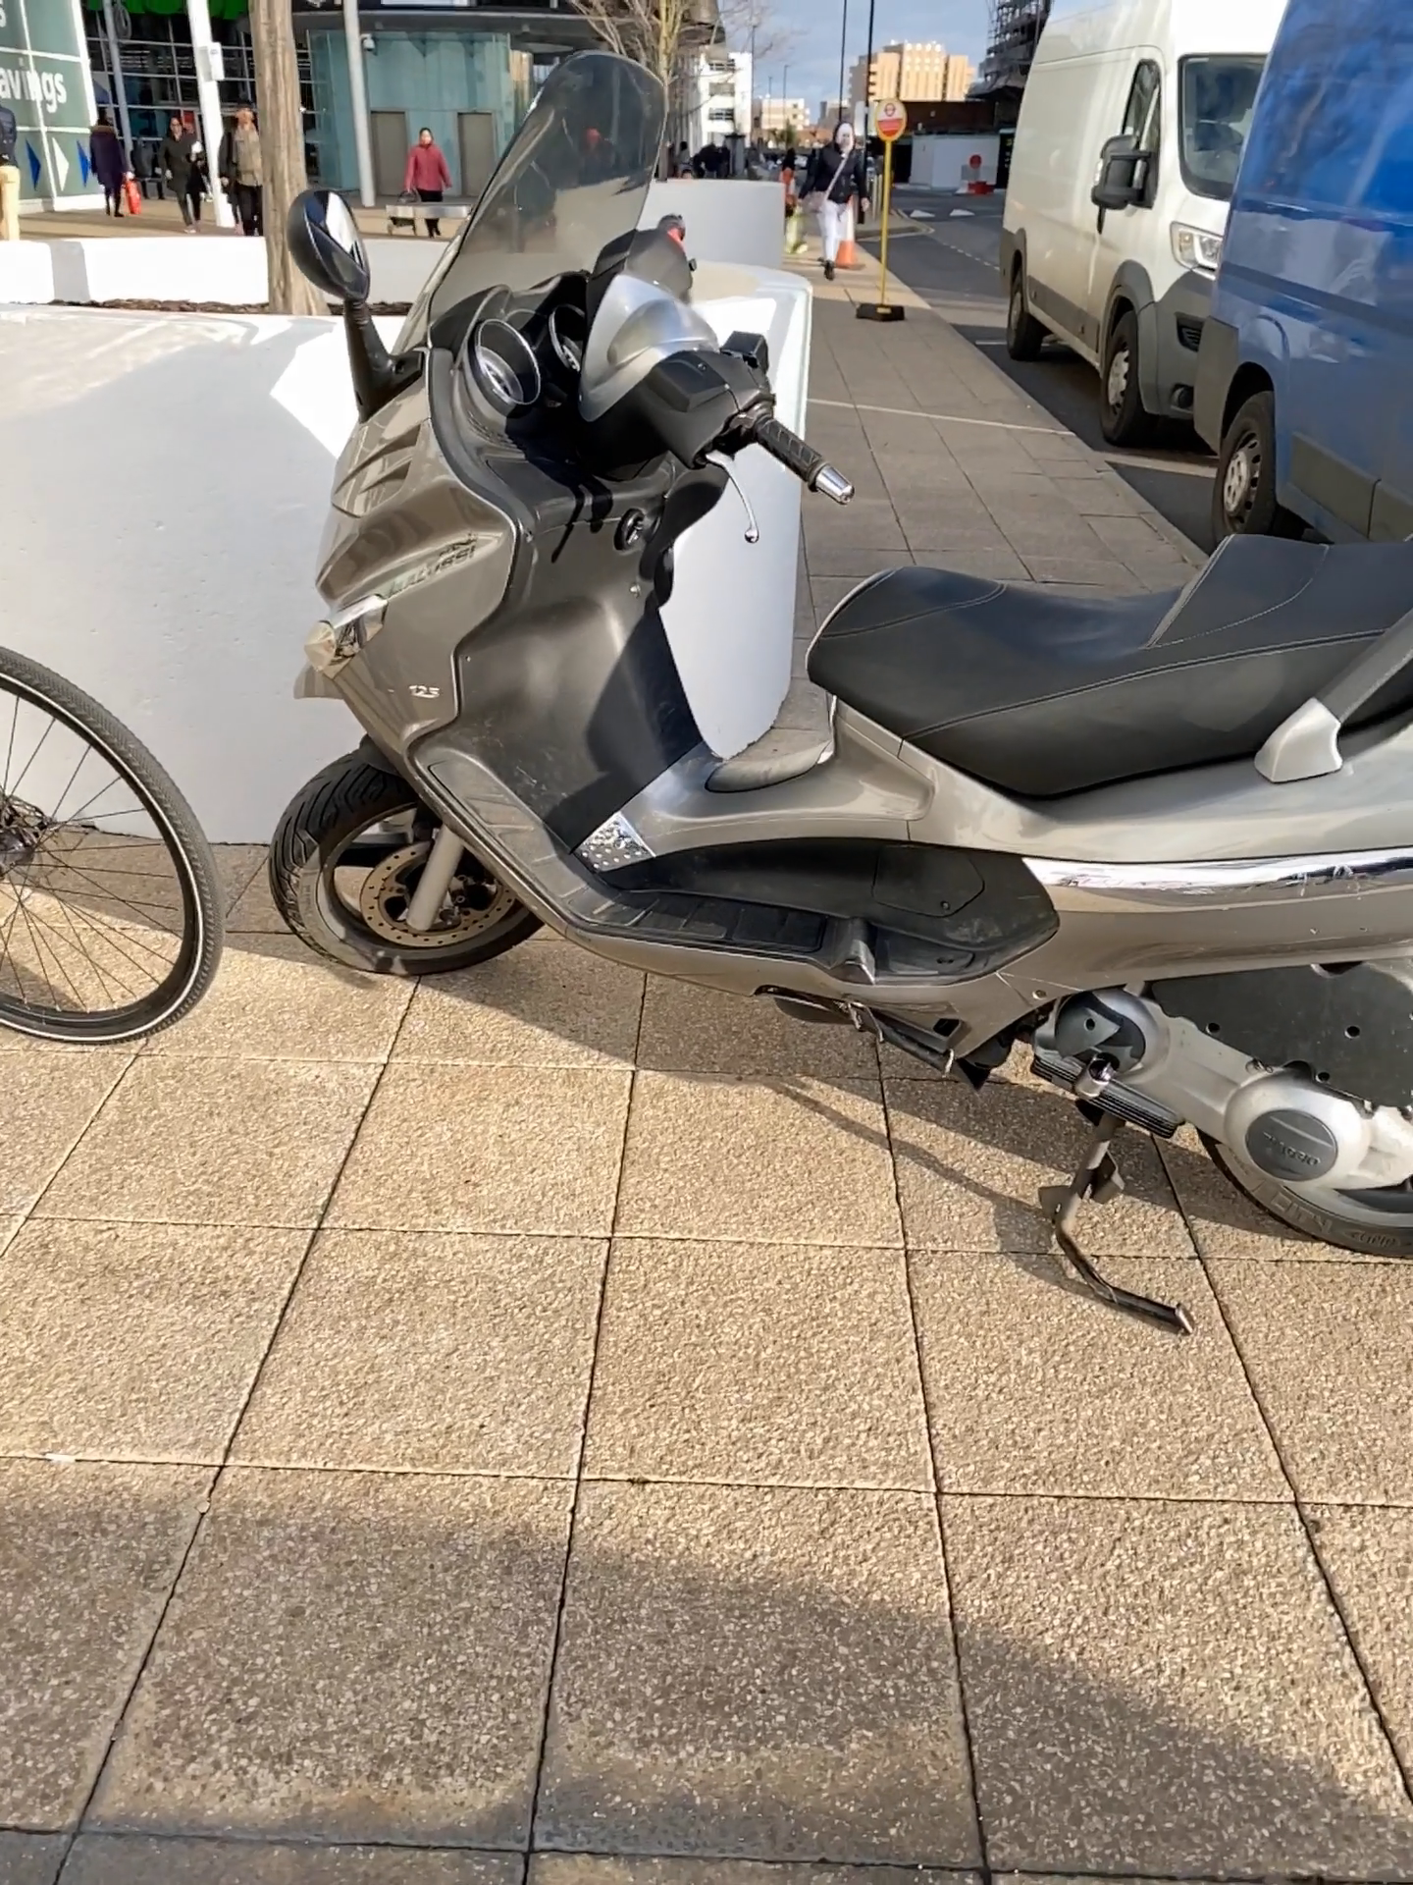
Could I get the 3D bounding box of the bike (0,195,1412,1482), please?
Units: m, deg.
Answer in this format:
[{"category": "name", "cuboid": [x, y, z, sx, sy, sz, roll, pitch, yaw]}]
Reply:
[{"category": "bike", "cuboid": [0.183, -0.233, 1.661, 1.654, 1.062, 0.658, 11, 30, 18]}]
